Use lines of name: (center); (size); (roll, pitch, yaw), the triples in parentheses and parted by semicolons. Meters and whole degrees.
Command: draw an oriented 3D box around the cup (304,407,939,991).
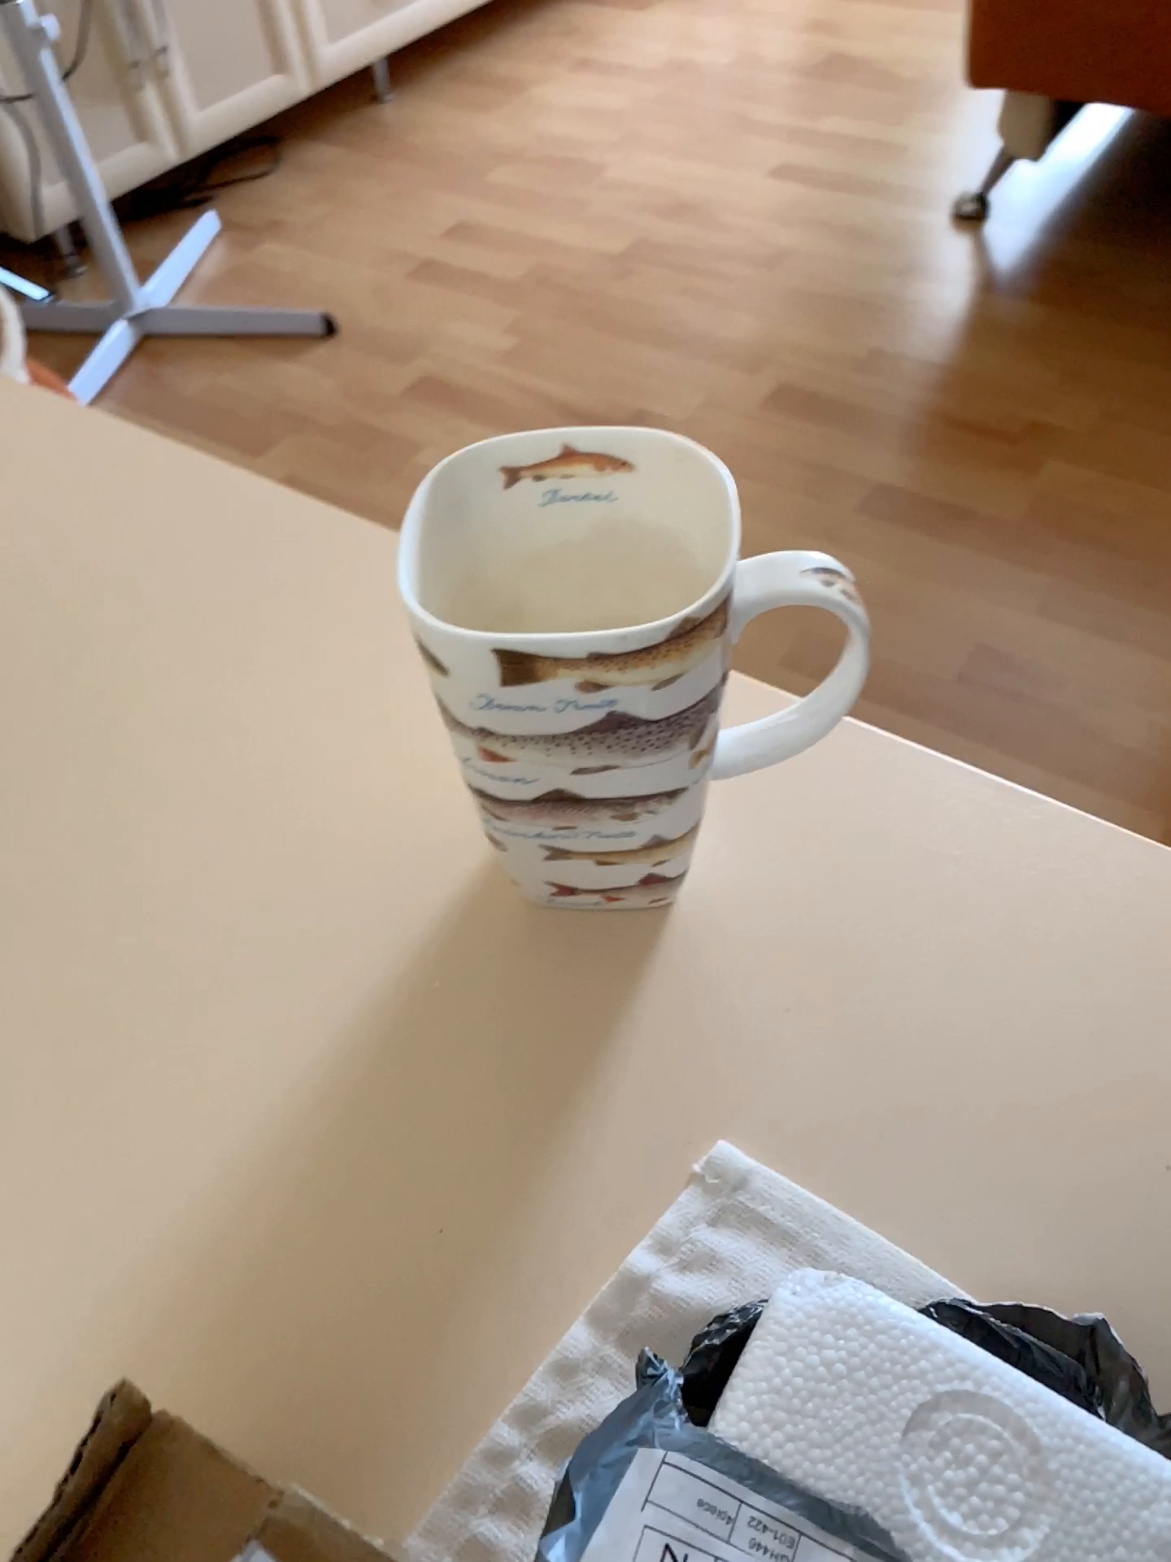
cup: (0.016, -0.021, 0.347); (0.140, 0.129, 0.101); (1, 49, 8)
